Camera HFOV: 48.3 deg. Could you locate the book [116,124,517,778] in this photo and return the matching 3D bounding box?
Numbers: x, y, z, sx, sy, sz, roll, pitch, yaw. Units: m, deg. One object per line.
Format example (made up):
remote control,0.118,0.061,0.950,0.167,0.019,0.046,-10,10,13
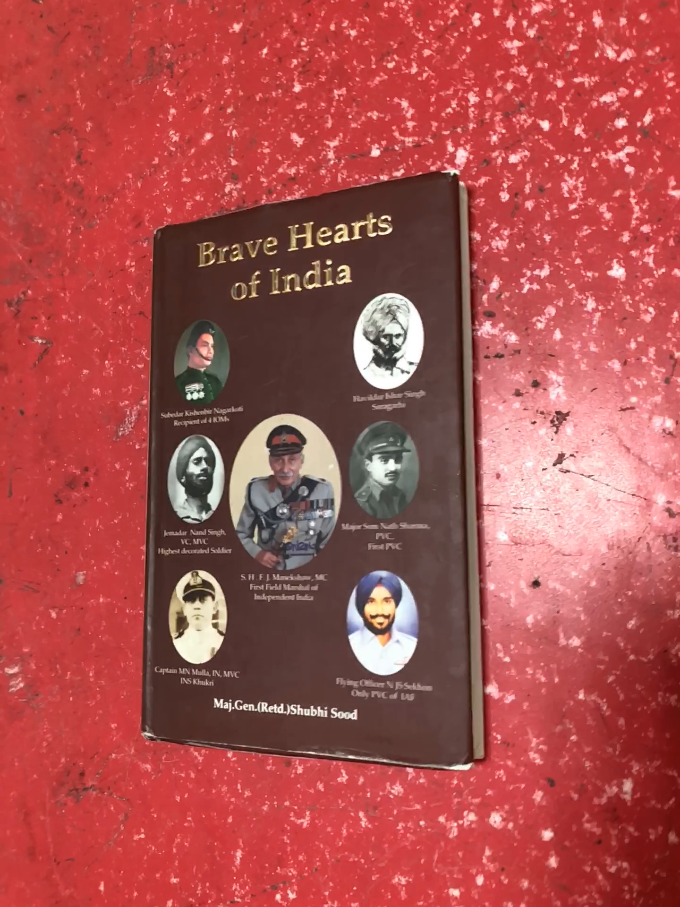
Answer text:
book,-0.014,-0.001,0.296,0.150,0.030,0.220,-4,81,24
